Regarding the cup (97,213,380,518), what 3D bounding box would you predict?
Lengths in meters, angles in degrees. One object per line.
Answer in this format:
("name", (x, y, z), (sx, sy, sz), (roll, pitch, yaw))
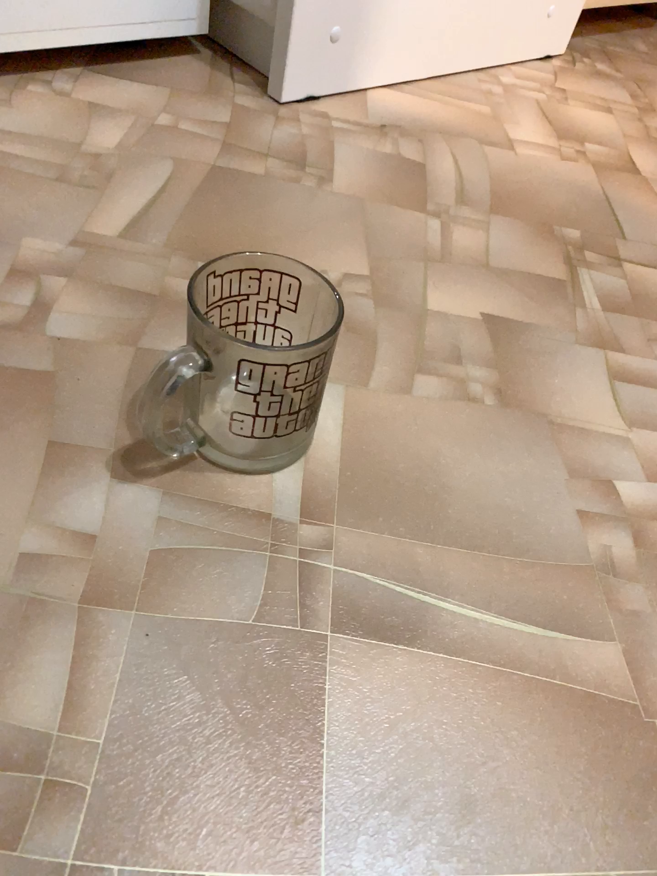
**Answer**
("cup", (-0.047, -0.038, 0.339), (0.098, 0.097, 0.082), (-29, 61, -33))
